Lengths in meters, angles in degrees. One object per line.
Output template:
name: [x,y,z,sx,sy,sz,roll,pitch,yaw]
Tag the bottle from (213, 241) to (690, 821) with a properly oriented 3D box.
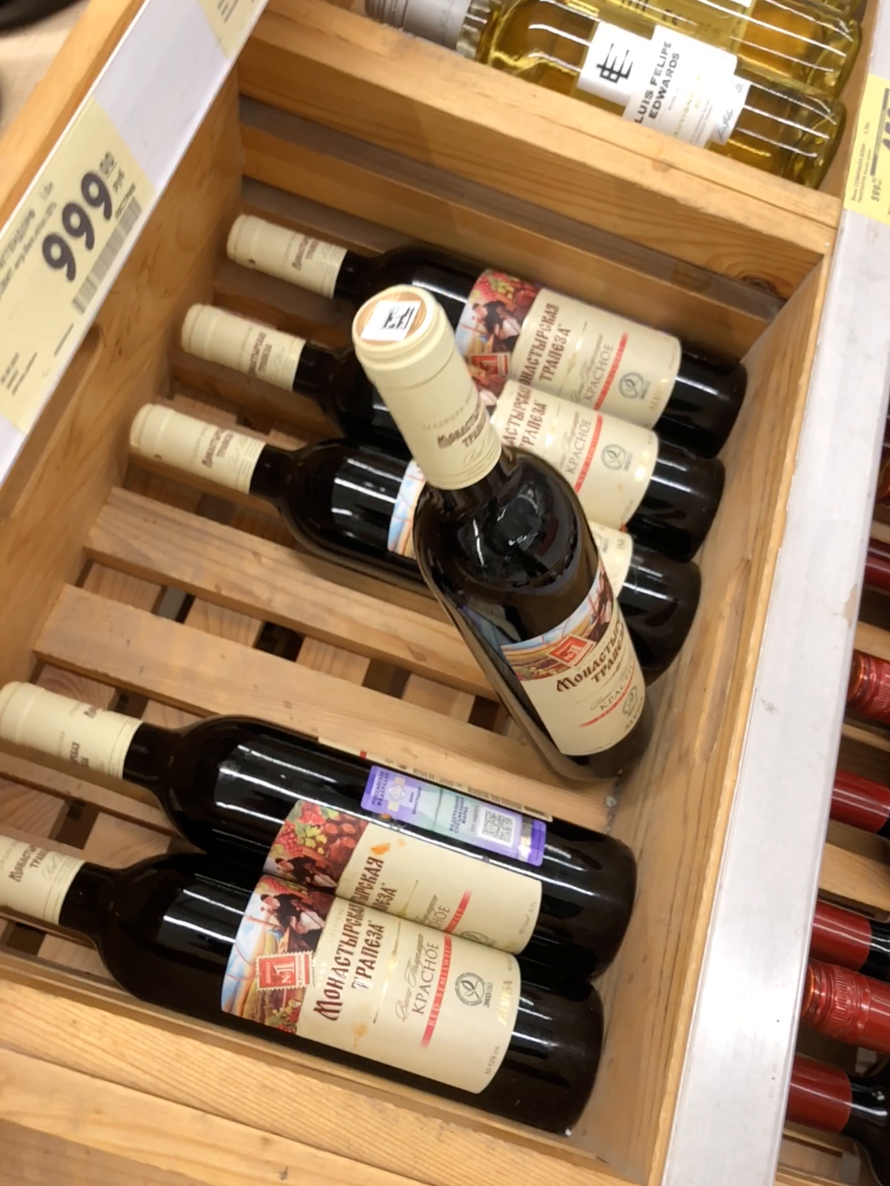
bottle: [0.032,0.003,0.412,0.080,0.309,0.080,-9,60,16]
